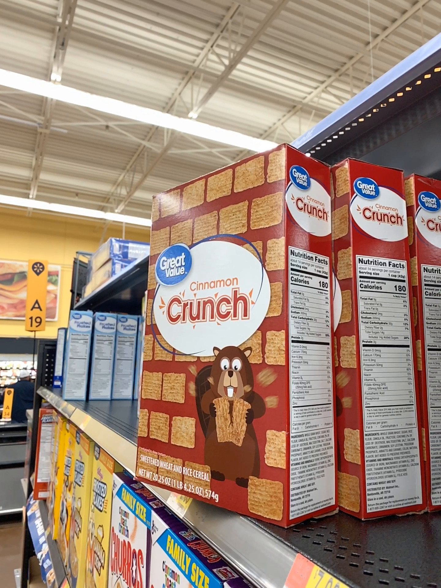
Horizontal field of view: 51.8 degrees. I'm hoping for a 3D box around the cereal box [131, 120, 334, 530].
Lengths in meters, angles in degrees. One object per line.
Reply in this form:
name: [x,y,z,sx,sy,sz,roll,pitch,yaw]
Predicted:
cereal box: [0.009,0.024,0.453,0.190,0.331,0.070,-6,-13,42]
